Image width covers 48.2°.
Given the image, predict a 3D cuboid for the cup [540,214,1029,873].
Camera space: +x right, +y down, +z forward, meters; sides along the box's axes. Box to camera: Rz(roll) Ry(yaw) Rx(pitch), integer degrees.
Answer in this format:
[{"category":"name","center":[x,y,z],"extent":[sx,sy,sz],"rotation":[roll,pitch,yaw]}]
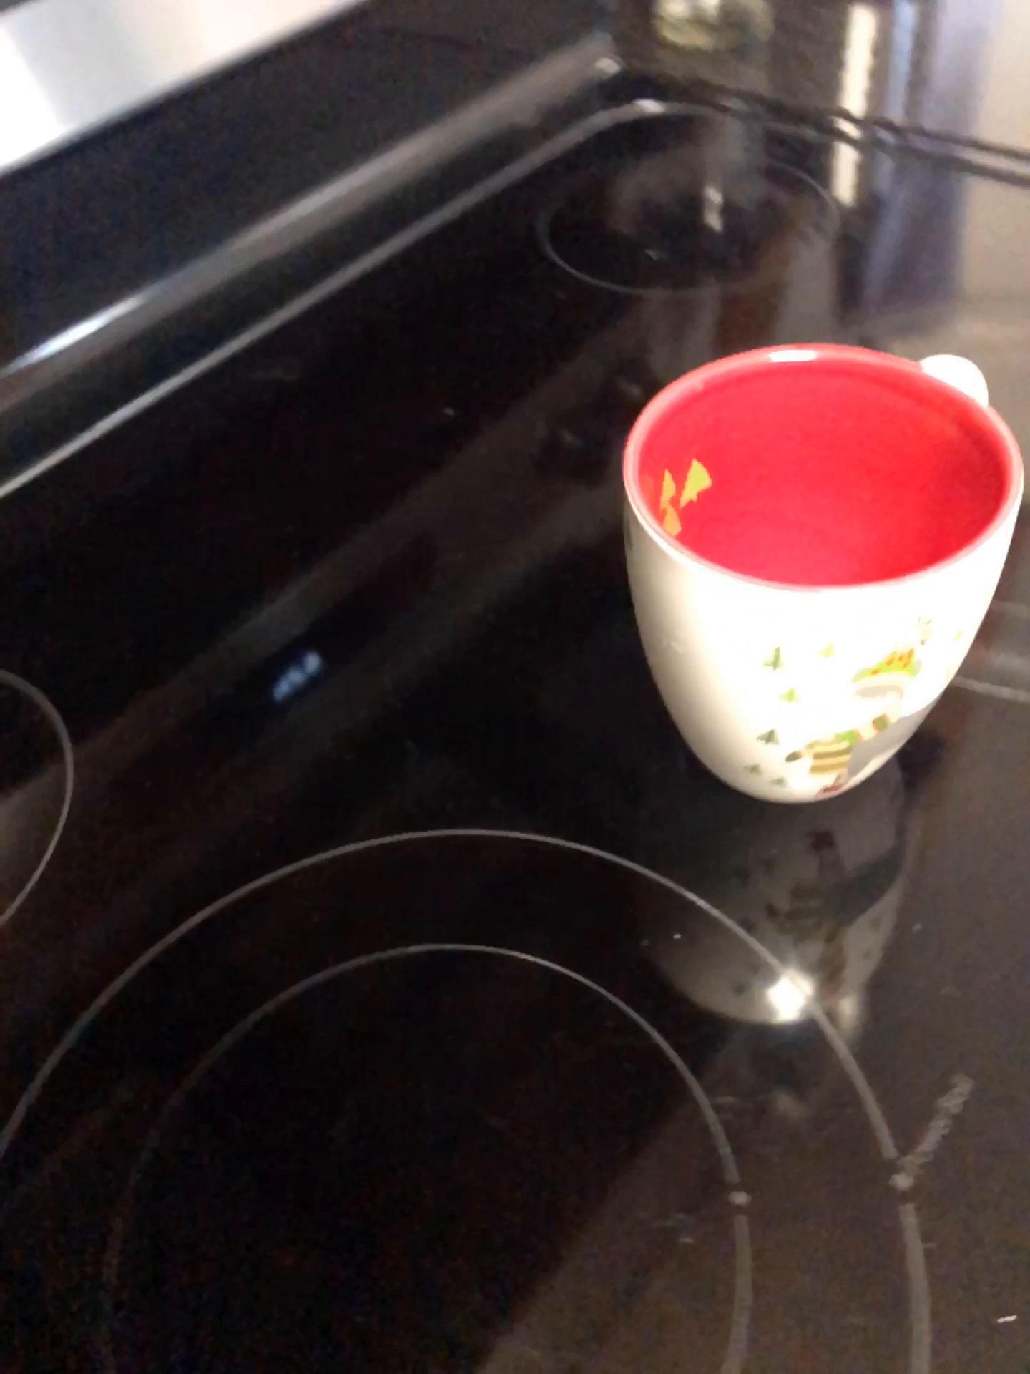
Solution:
[{"category":"cup","center":[0.093,-0.047,0.332],"extent":[0.100,0.100,0.140],"rotation":[28,57,28]}]
